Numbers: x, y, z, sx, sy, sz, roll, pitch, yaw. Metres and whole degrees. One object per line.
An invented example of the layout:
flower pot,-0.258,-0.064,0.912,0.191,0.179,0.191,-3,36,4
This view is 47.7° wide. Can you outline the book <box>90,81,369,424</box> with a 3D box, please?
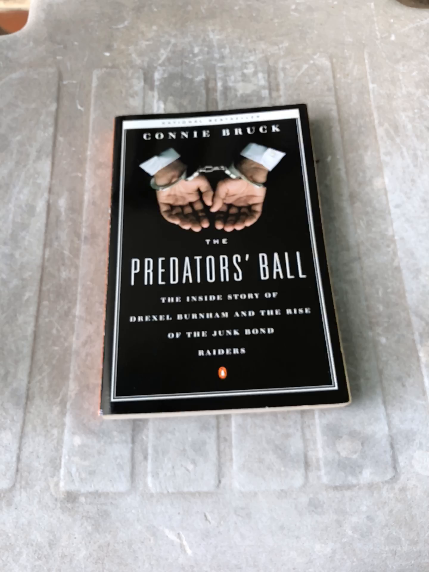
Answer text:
book,0.004,-0.029,0.297,0.140,0.030,0.210,-3,67,2
